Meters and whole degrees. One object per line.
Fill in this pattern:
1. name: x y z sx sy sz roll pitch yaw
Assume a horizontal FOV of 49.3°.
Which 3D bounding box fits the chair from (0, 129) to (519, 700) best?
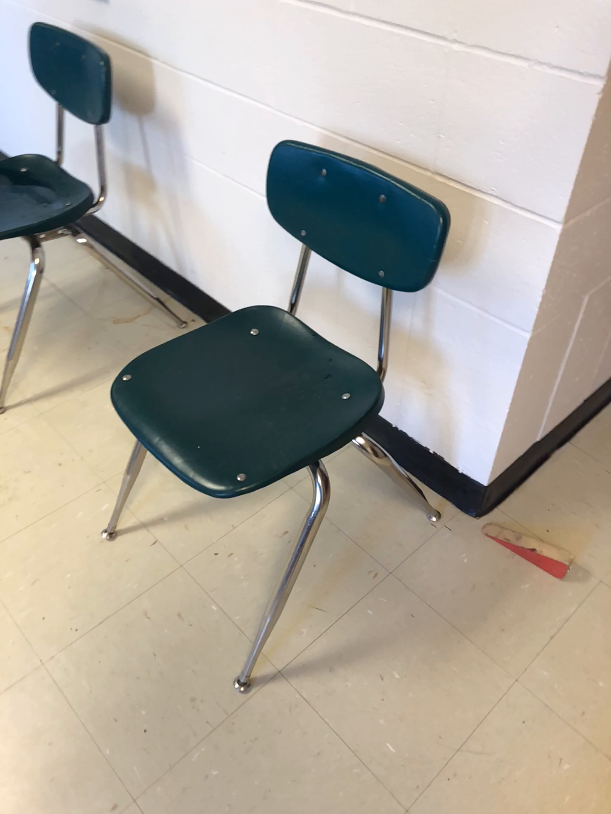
1. chair: -0.063 -0.007 1.196 0.592 0.695 0.482 -32 51 -30
